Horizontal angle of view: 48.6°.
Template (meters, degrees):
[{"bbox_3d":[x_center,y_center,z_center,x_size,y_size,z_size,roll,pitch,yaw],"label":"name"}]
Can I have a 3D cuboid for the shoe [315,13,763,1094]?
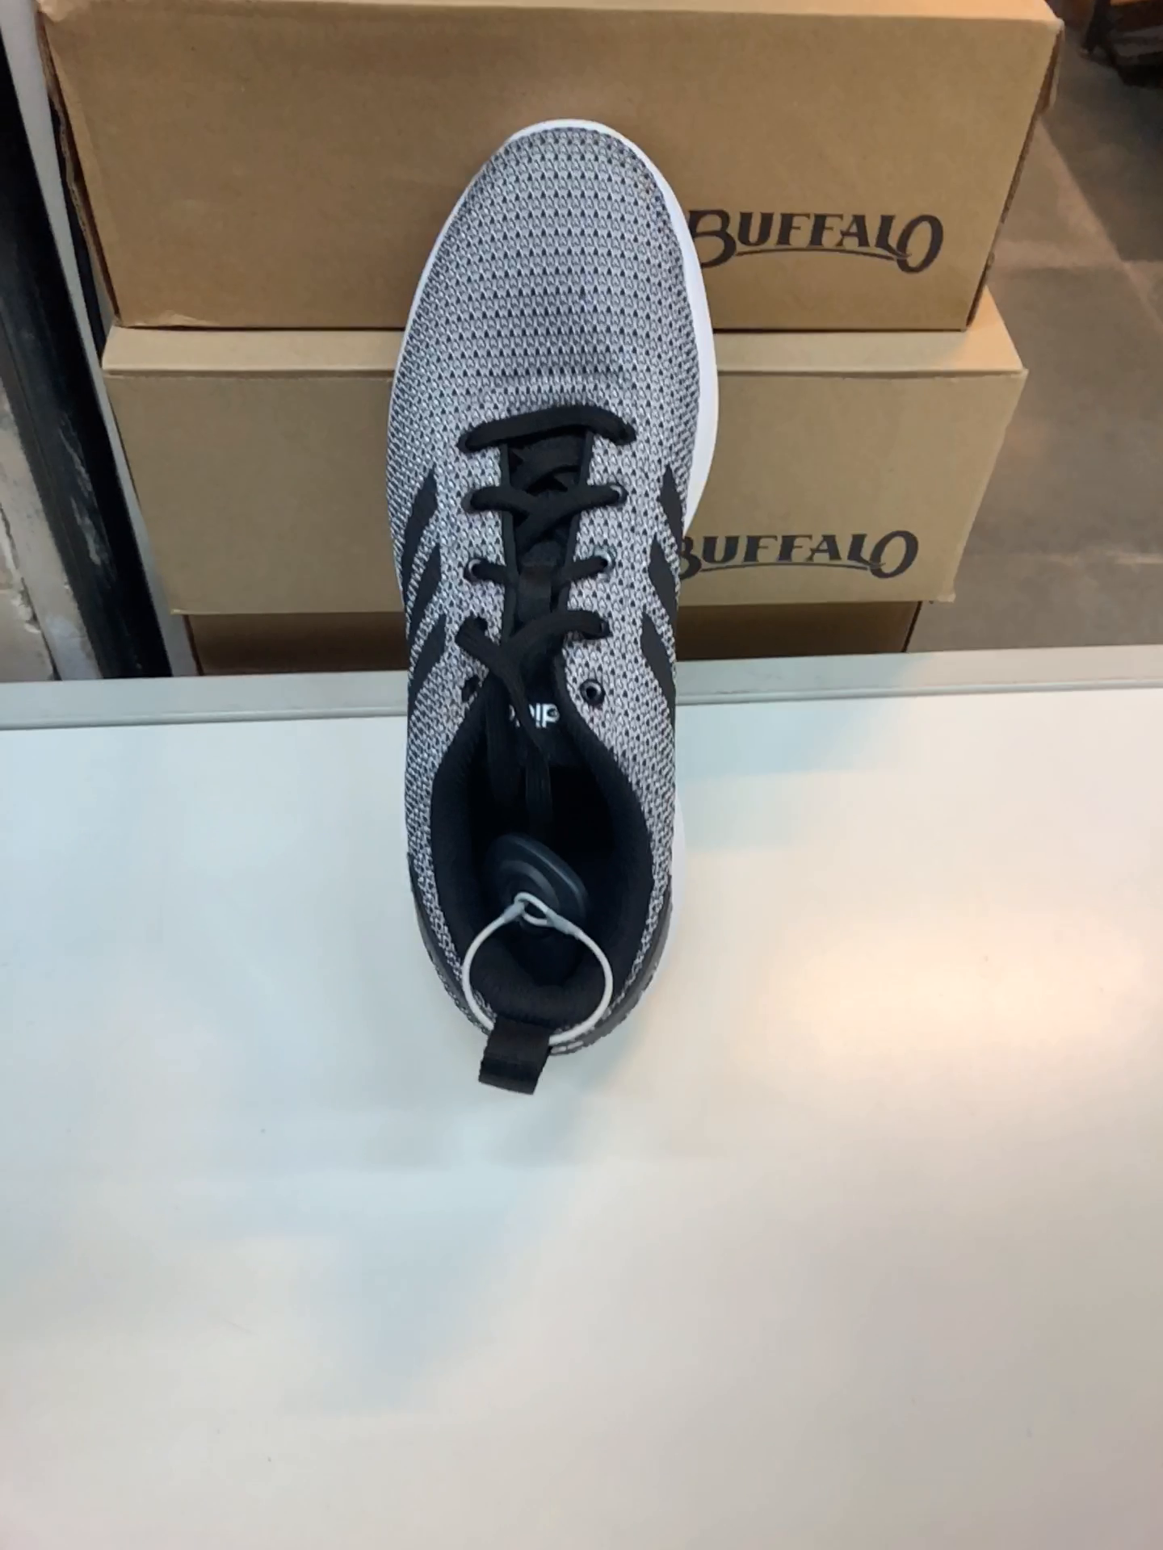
[{"bbox_3d":[-0.009,-0.058,0.381,0.112,0.098,0.282,0,85,2],"label":"shoe"}]
